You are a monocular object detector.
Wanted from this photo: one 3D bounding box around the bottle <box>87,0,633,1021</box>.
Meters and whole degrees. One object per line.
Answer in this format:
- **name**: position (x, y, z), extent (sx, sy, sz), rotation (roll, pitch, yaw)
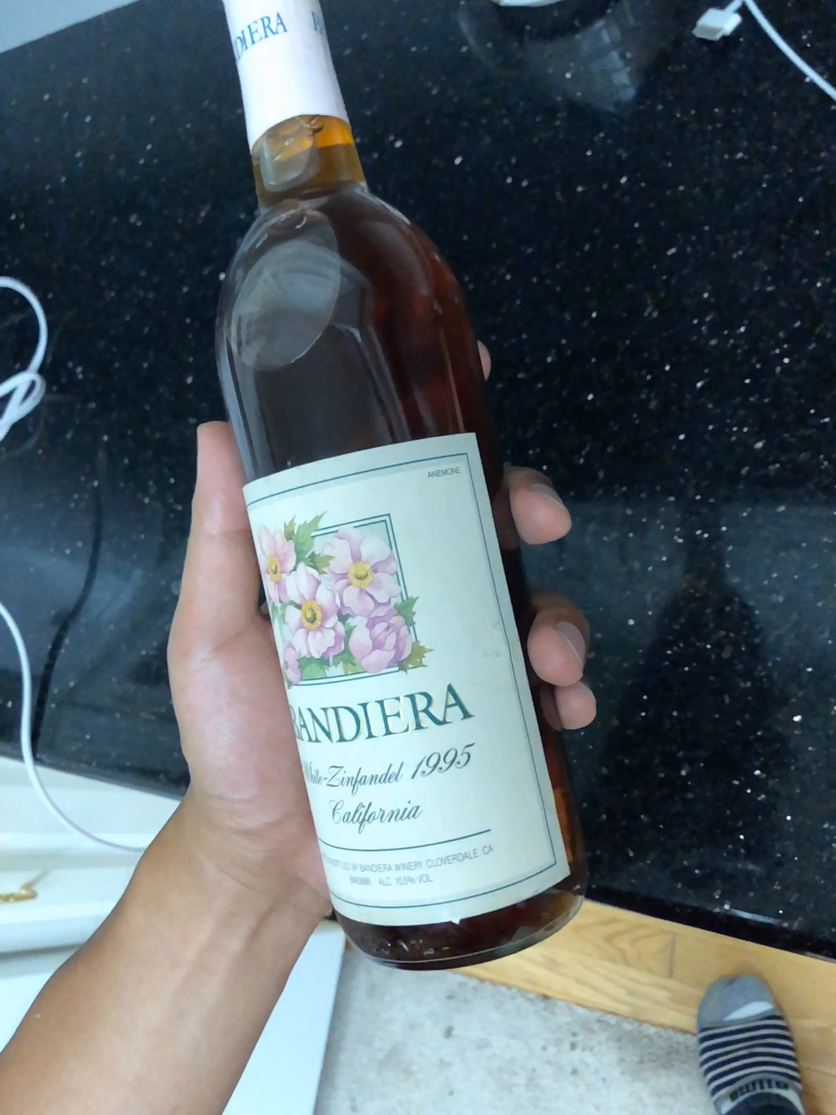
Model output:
- **bottle**: position (-0.014, -0.035, 0.269), extent (0.080, 0.070, 0.300), rotation (-11, 89, 28)
